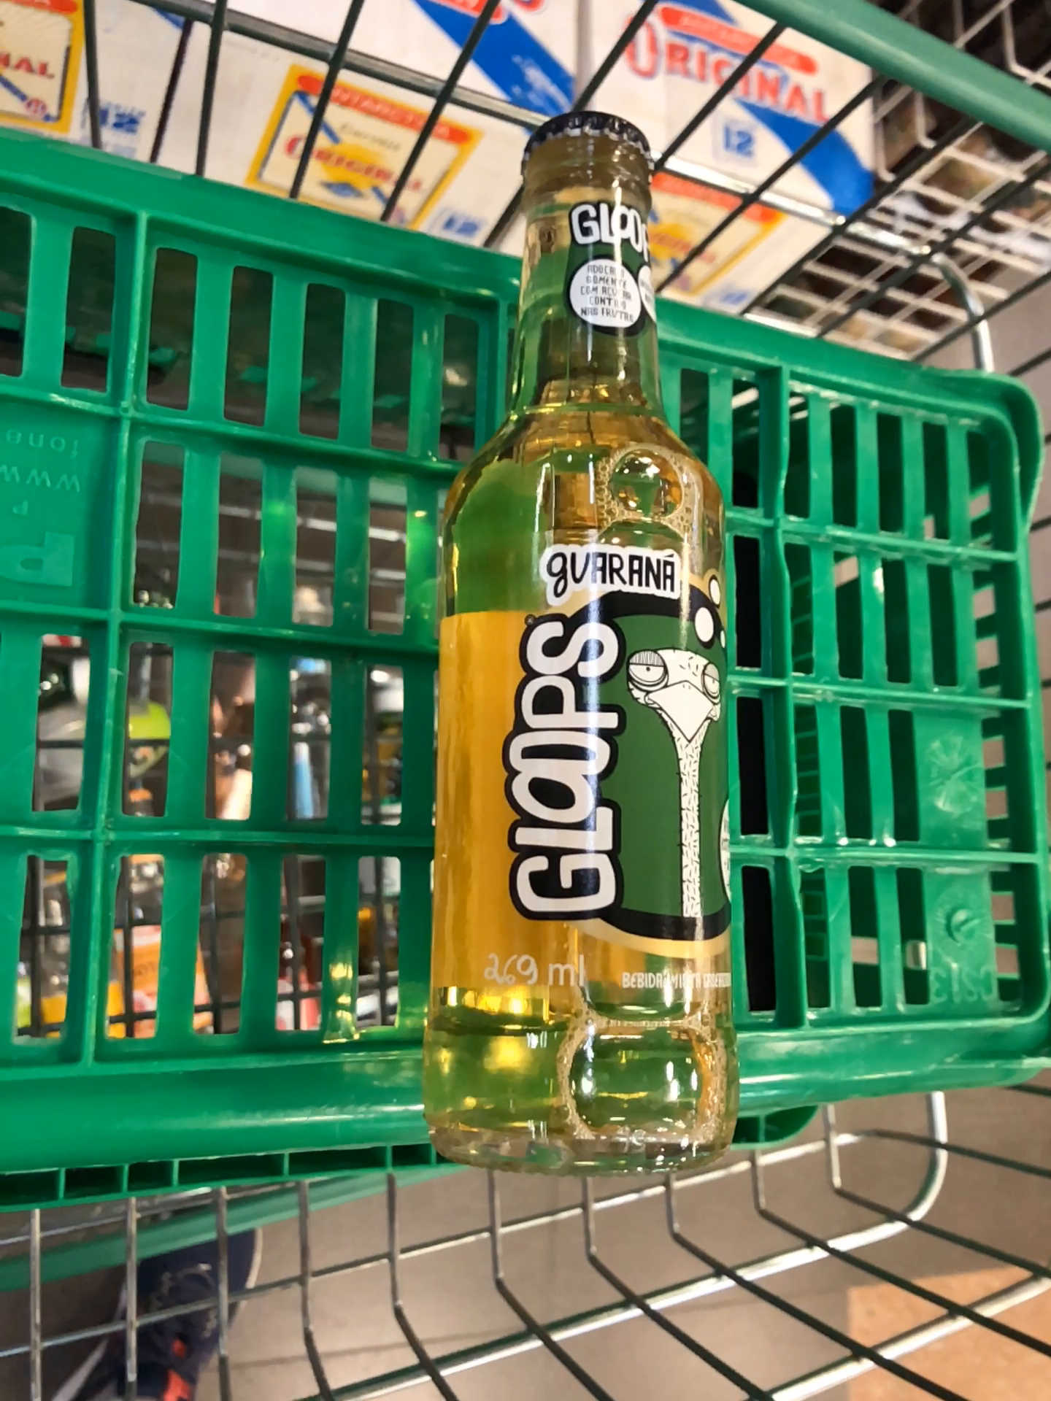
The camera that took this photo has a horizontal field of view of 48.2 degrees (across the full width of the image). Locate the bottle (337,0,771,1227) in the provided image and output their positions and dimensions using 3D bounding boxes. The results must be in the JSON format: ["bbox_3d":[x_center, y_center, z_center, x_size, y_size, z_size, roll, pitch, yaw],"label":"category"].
[{"bbox_3d":[0.006,-0.025,0.225,0.060,0.050,0.220,6,79,-24],"label":"bottle"}]
